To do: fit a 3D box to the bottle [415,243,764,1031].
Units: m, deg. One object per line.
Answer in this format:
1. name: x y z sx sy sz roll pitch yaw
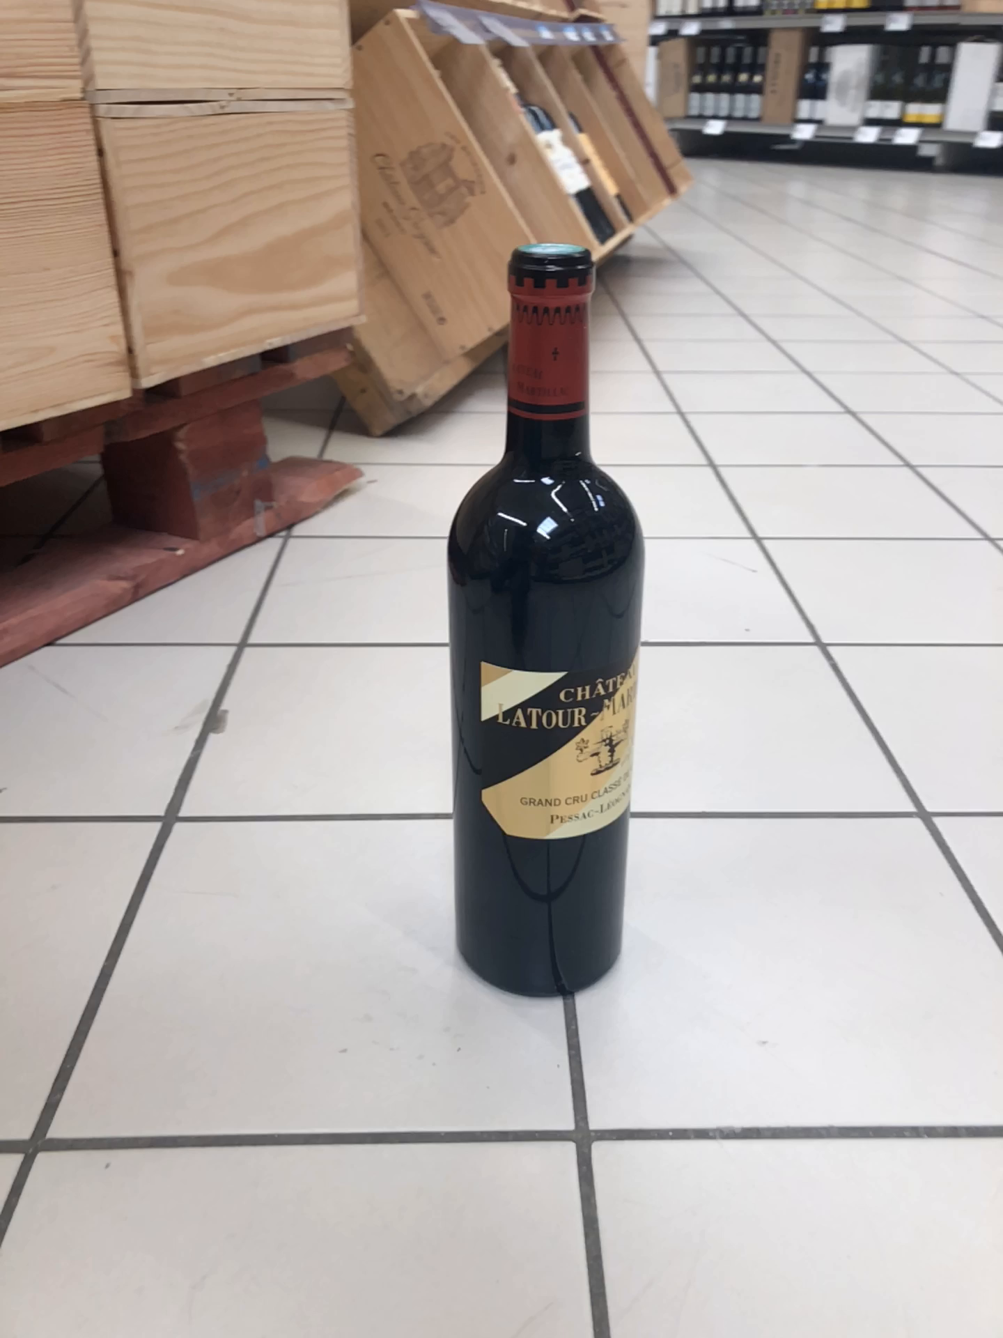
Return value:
1. bottle: 0.027 -0.007 0.421 0.080 0.278 0.080 1 27 0
